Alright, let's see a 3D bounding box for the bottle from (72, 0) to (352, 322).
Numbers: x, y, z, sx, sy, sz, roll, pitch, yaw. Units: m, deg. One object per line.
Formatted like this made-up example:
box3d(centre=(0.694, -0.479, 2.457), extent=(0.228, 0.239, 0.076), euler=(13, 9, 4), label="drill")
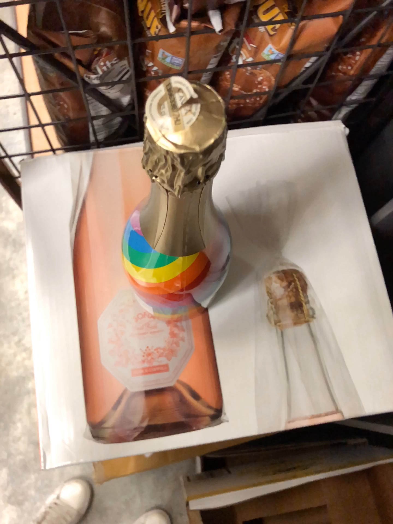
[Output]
box3d(centre=(-0.008, -0.029, 0.306), extent=(0.088, 0.320, 0.088), euler=(1, 74, -4), label="bottle")
